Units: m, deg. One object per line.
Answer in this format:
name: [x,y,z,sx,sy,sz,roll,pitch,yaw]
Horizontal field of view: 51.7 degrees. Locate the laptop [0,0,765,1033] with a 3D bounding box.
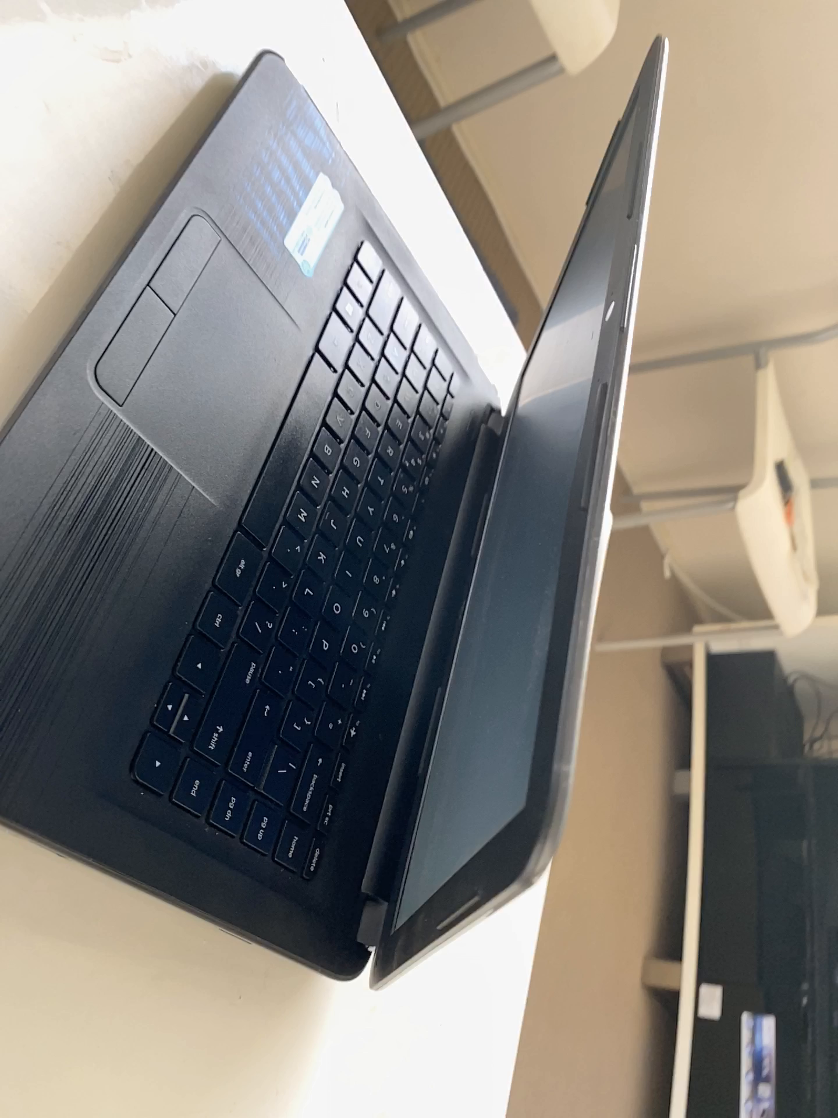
laptop: [0.020,-0.043,0.324,0.226,0.154,0.336,49,43,-40]
